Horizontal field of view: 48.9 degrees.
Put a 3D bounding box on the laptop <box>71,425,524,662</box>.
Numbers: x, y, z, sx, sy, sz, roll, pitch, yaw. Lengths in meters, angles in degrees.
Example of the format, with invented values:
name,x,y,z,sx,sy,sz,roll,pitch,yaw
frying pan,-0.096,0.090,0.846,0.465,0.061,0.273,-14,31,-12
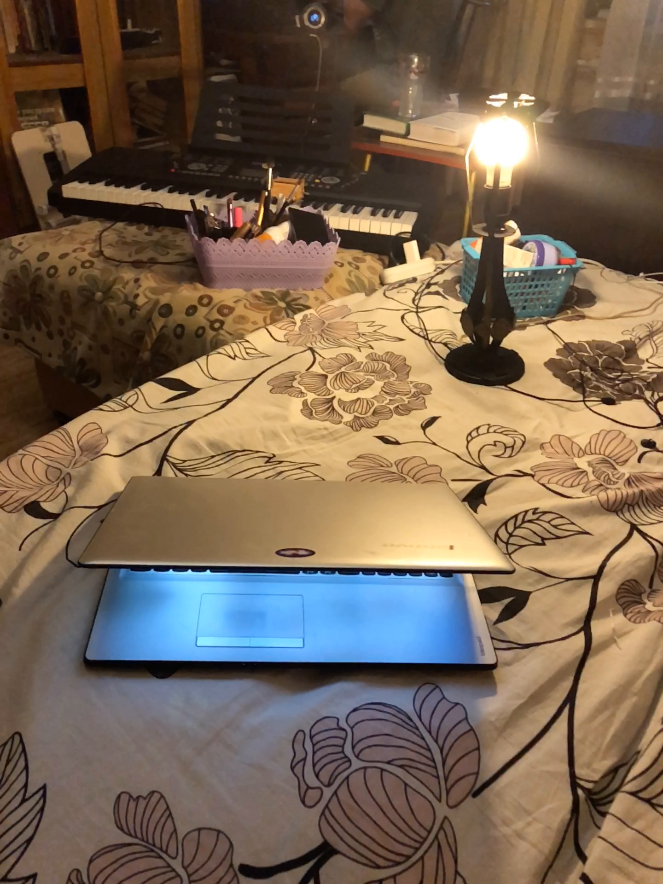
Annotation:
name,x,y,z,sx,sy,sz,roll,pitch,yaw
laptop,-0.036,0.091,0.742,0.380,0.082,0.257,1,33,-3
